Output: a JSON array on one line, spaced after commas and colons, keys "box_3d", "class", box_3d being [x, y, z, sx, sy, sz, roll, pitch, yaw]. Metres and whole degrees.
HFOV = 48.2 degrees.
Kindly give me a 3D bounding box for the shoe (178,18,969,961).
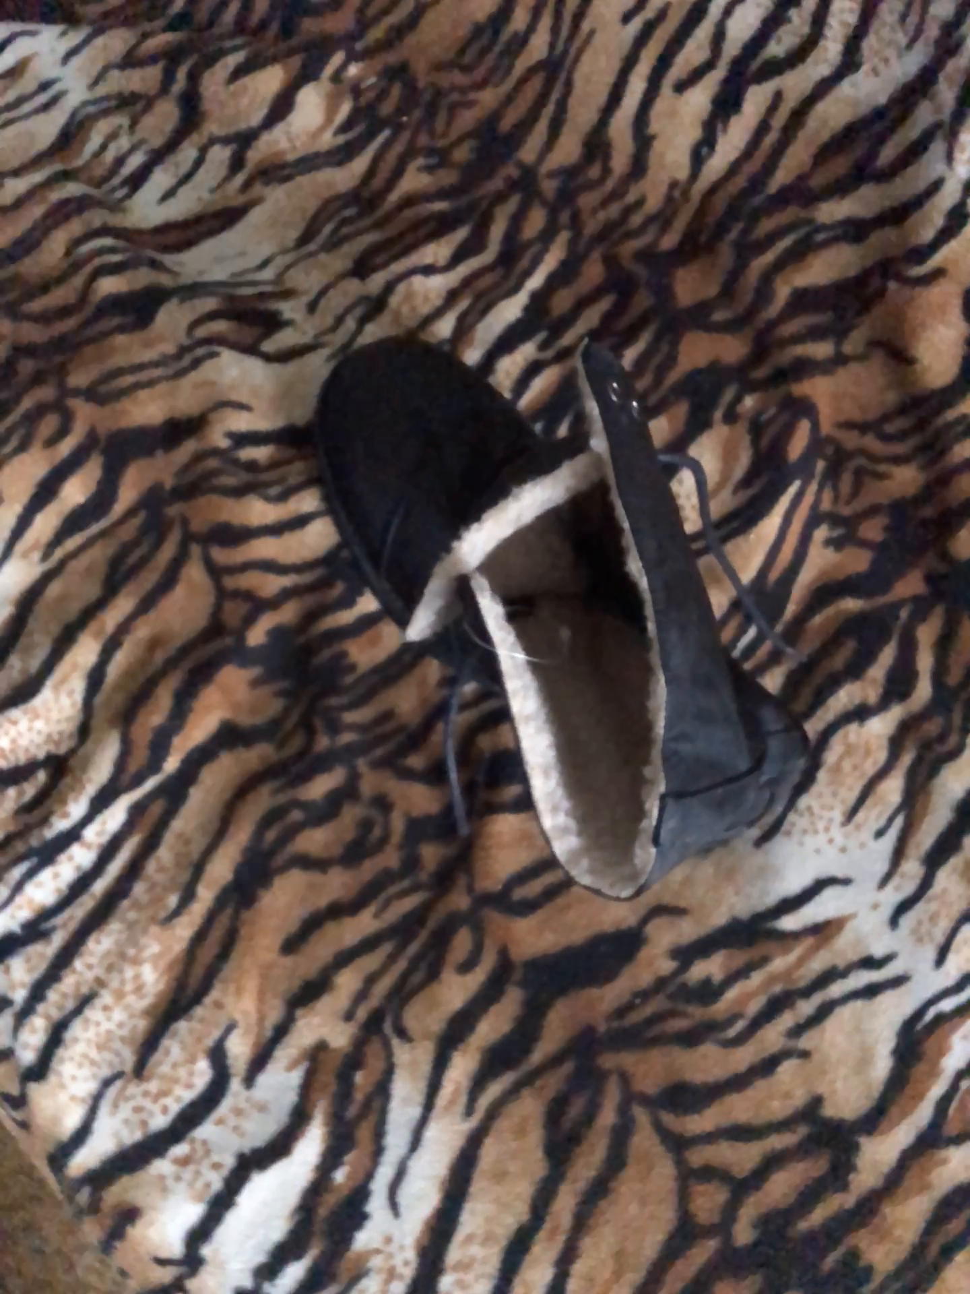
[{"box_3d": [0.039, -0.055, 0.466, 0.140, 0.200, 0.330, -35, 73, -14], "class": "shoe"}]
